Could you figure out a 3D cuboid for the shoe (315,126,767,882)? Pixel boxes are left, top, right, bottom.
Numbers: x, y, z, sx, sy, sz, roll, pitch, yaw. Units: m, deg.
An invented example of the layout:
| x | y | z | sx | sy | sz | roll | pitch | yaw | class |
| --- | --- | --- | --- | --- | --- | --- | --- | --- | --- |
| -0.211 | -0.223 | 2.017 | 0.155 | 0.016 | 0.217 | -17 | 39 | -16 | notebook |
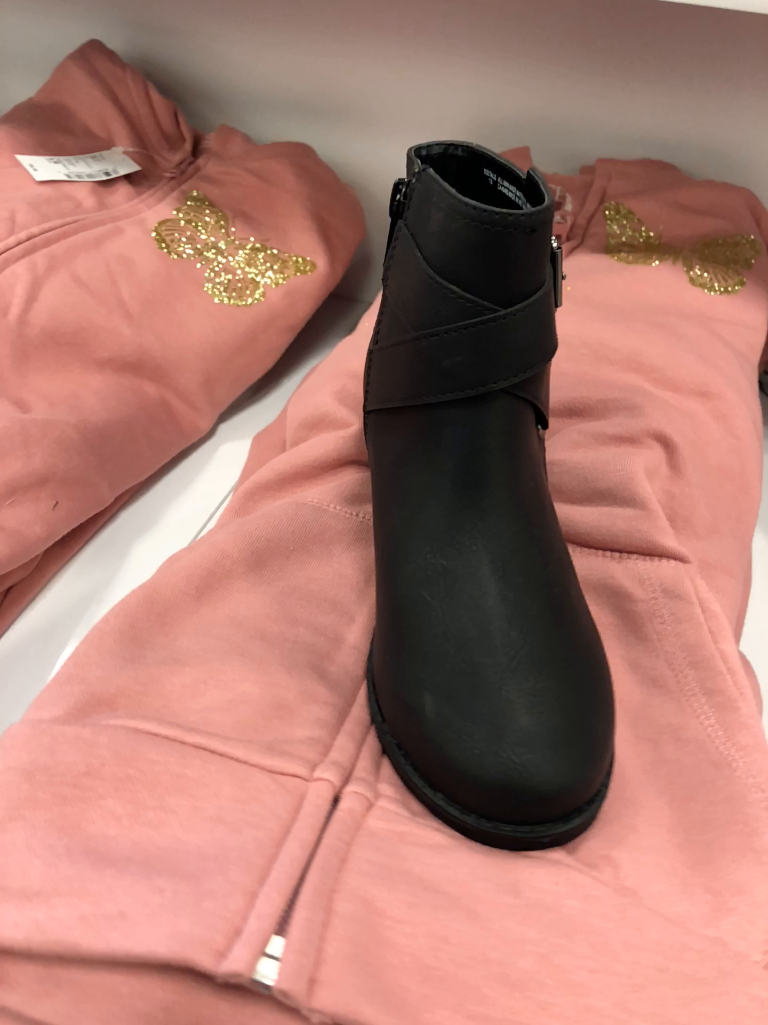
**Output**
| x | y | z | sx | sy | sz | roll | pitch | yaw | class |
| --- | --- | --- | --- | --- | --- | --- | --- | --- | --- |
| 0.028 | -0.020 | 0.264 | 0.080 | 0.129 | 0.201 | -3 | 40 | -8 | shoe |
